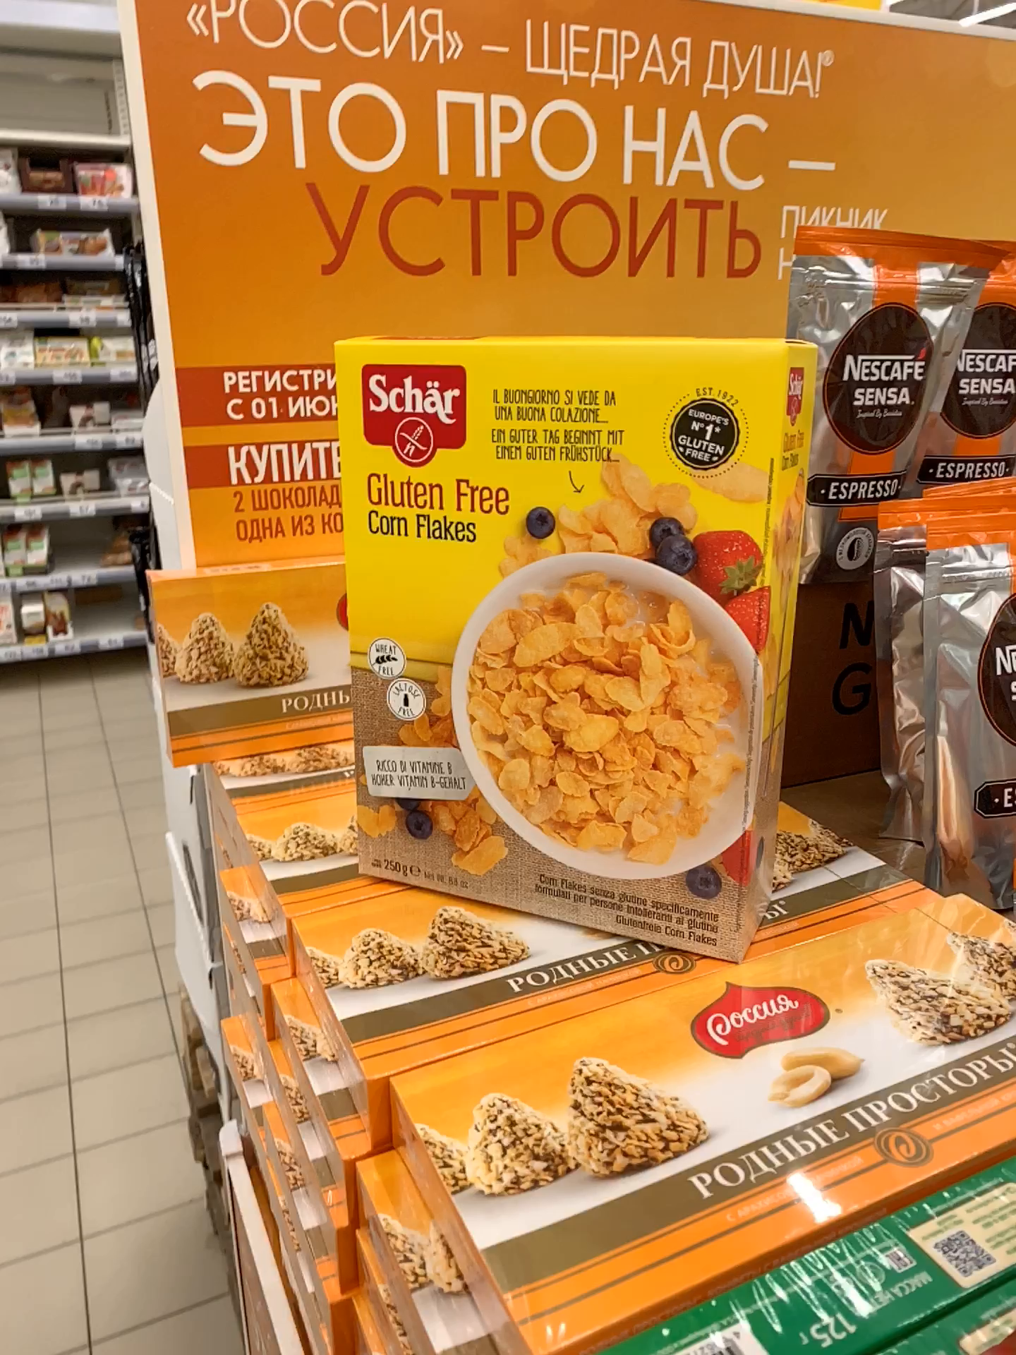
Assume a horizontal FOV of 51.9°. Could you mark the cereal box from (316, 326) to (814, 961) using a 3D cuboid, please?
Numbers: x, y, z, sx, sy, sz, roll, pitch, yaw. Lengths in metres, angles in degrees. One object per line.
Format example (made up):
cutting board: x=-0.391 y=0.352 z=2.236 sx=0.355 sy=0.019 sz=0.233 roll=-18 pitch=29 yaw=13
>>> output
cereal box: x=0.022 y=-0.023 z=0.477 sx=0.200 sy=0.259 sz=0.060 roll=8 pitch=20 yaw=24
